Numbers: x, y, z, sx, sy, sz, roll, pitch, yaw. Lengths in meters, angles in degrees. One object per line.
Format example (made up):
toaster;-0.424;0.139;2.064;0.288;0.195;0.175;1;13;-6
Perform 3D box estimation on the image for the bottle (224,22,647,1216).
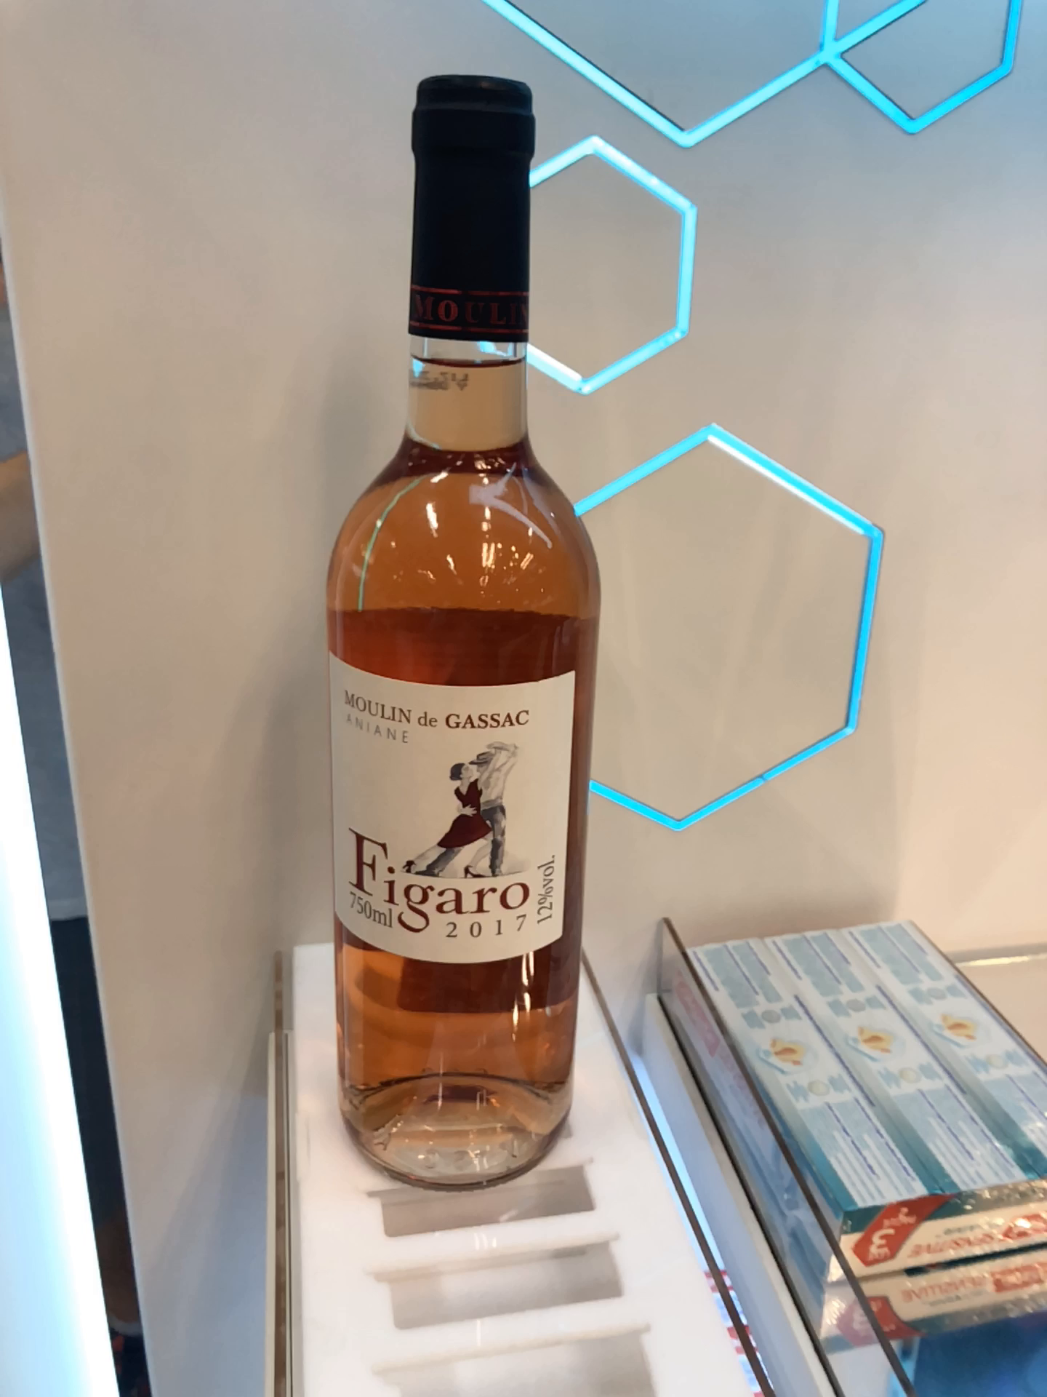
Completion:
bottle;-0.020;-0.010;0.342;0.090;0.318;0.080;4;20;7
